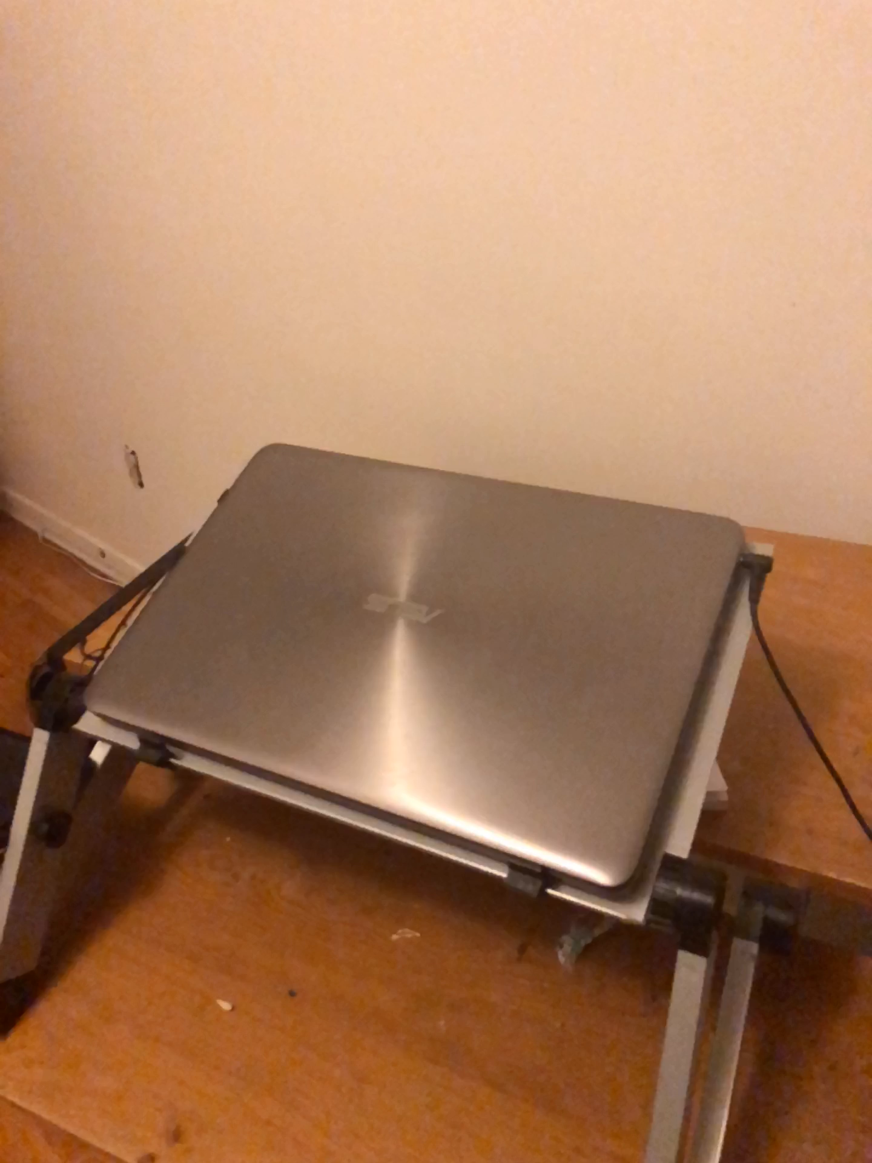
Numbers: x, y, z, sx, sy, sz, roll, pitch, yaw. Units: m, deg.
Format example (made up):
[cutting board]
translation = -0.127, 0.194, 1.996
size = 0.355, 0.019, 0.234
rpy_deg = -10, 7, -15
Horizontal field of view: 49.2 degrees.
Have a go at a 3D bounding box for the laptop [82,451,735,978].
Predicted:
[laptop]
translation = -0.020, 0.053, 0.631
size = 0.362, 0.071, 0.250
rpy_deg = 12, 52, 26
